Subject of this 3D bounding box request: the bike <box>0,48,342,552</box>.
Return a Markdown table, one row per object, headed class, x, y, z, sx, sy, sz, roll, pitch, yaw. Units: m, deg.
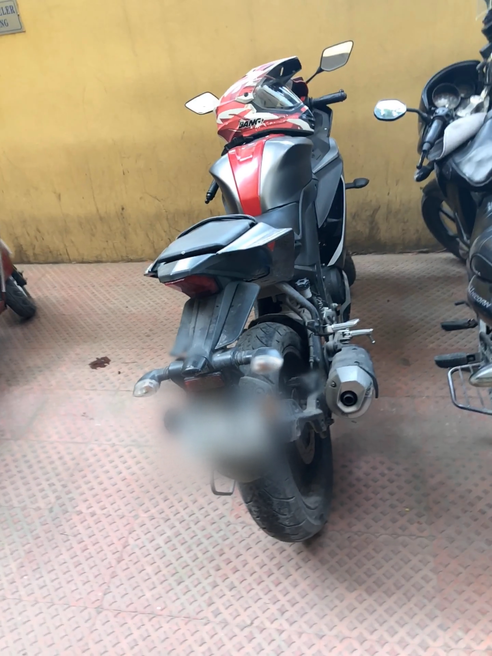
| class | x | y | z | sx | sy | sz | roll | pitch | yaw |
| --- | --- | --- | --- | --- | --- | --- | --- | --- | --- |
| bike | -0.140 | -0.312 | 1.959 | 0.725 | 0.870 | 1.754 | -5 | 37 | 7 |
